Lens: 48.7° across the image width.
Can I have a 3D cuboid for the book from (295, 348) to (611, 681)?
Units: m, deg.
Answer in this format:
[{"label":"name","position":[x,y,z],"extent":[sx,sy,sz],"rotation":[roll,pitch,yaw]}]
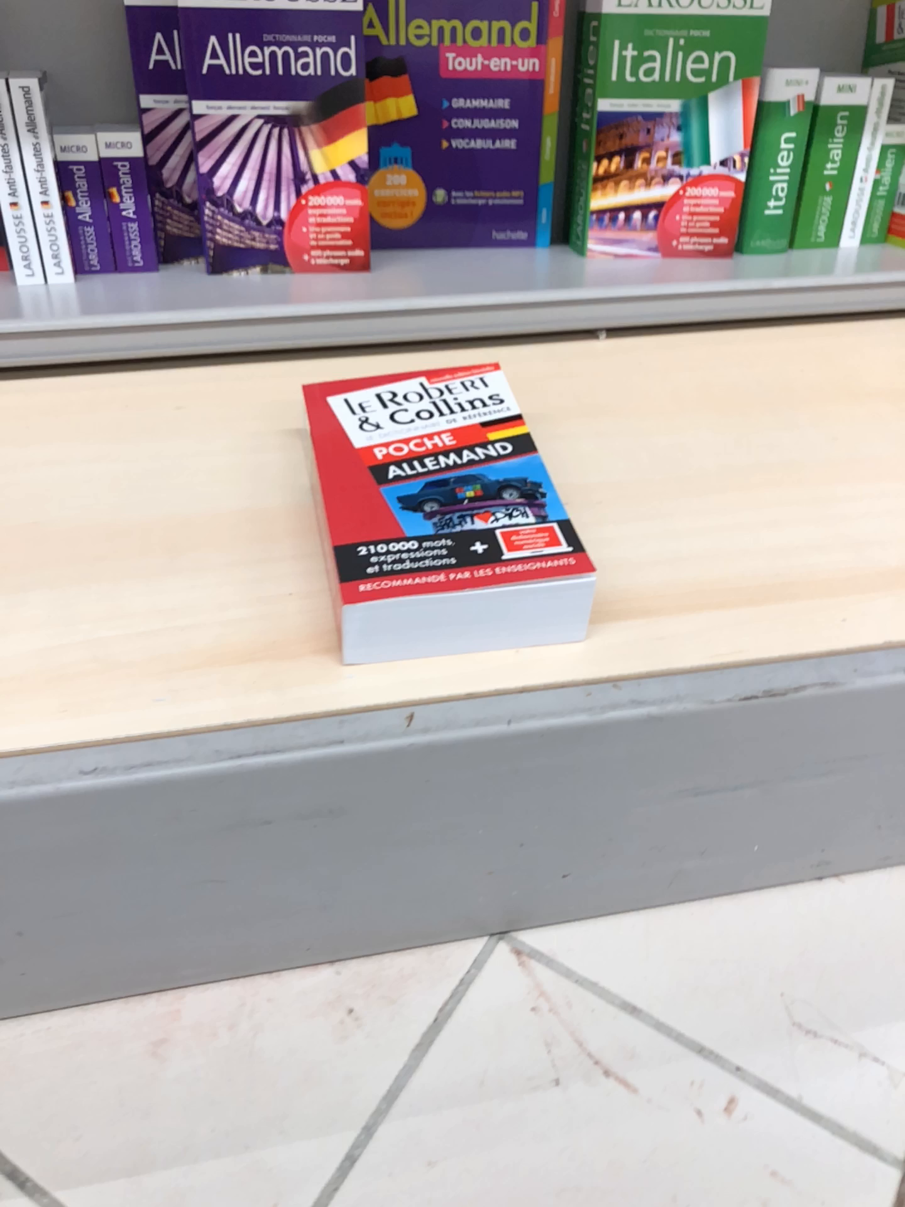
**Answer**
[{"label":"book","position":[-0.008,-0.051,0.470],"extent":[0.110,0.050,0.171],"rotation":[-8,44,-9]}]
